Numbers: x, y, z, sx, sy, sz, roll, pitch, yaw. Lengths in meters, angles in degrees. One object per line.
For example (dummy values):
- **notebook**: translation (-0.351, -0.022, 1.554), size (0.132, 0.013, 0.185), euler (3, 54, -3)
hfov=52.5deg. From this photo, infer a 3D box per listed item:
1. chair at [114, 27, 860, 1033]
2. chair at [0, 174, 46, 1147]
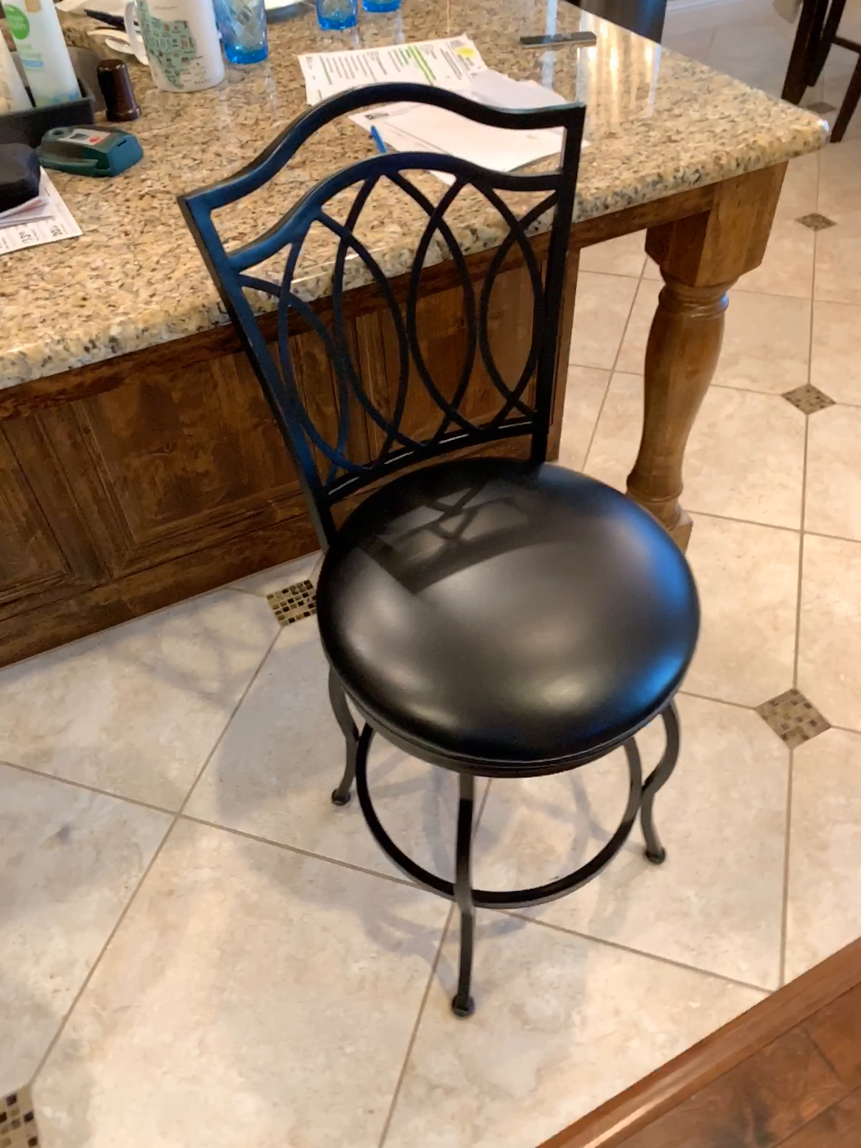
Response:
- **chair**: translation (0.075, 0.042, 1.077), size (0.468, 1.069, 0.506), euler (-25, 51, -19)
- **chair**: translation (-0.843, 0.392, 0.728), size (0.555, 1.098, 0.590), euler (-20, 50, -15)
